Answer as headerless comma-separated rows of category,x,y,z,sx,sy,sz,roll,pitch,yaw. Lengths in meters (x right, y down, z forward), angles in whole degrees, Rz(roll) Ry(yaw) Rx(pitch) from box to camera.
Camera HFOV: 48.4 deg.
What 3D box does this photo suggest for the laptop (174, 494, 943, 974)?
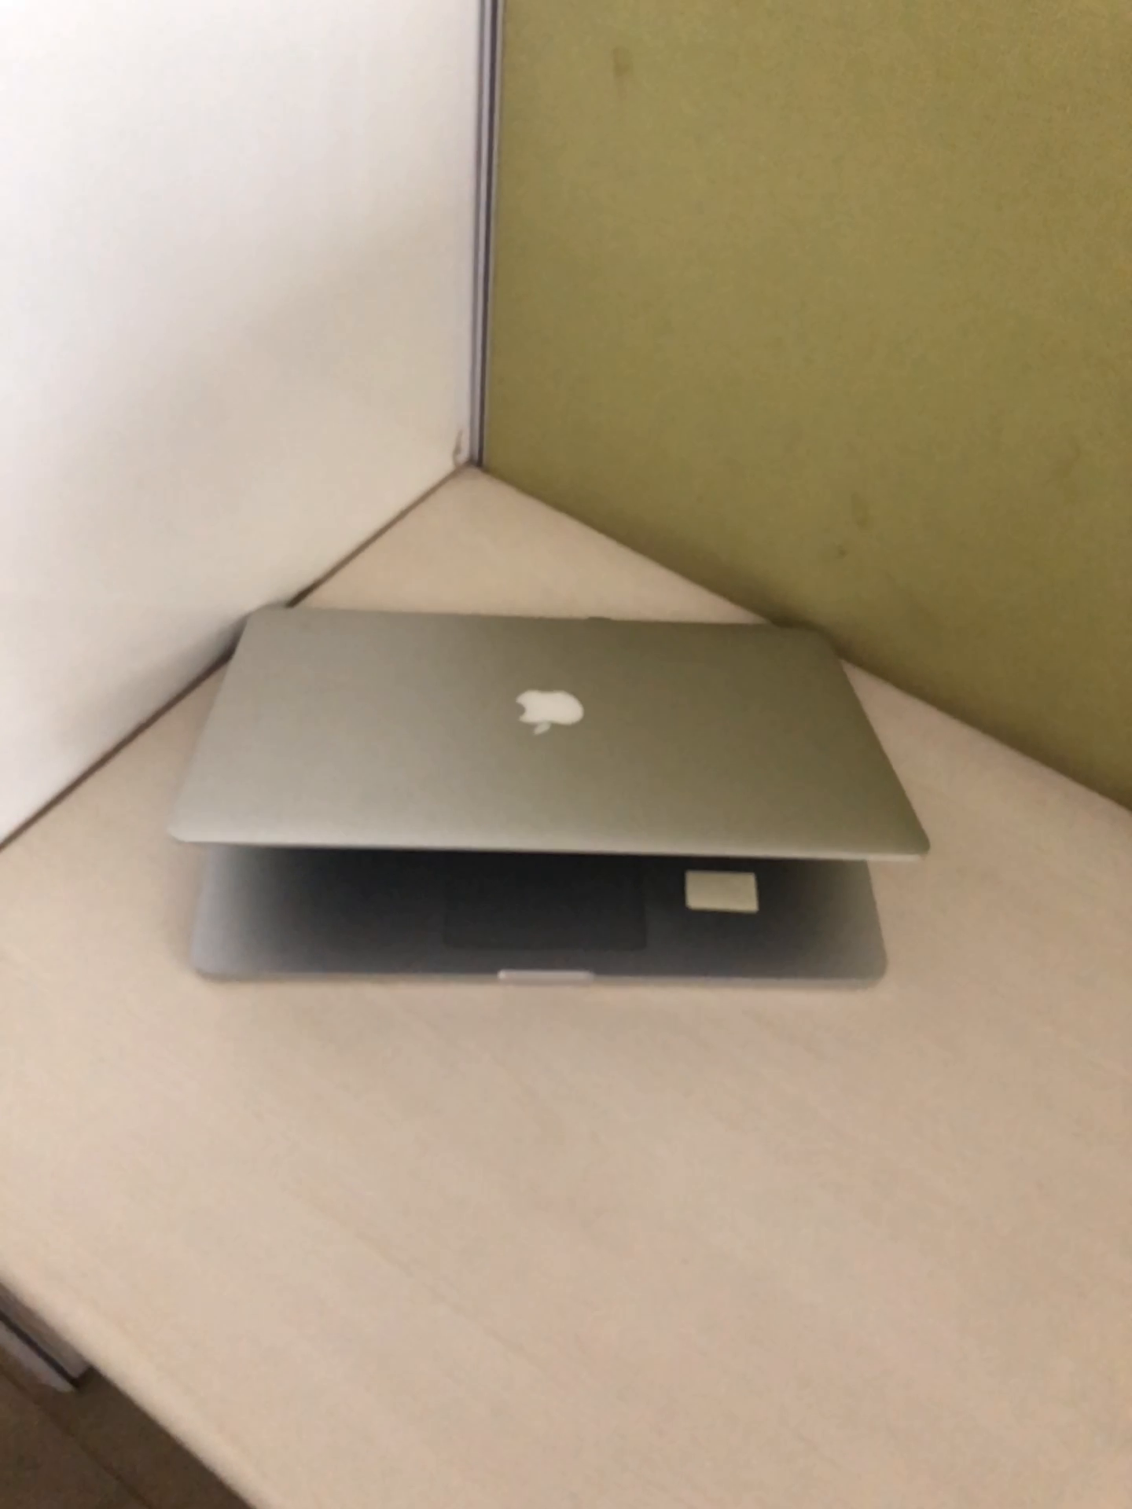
laptop,-0.006,-0.016,0.665,0.343,0.083,0.245,2,53,-4
